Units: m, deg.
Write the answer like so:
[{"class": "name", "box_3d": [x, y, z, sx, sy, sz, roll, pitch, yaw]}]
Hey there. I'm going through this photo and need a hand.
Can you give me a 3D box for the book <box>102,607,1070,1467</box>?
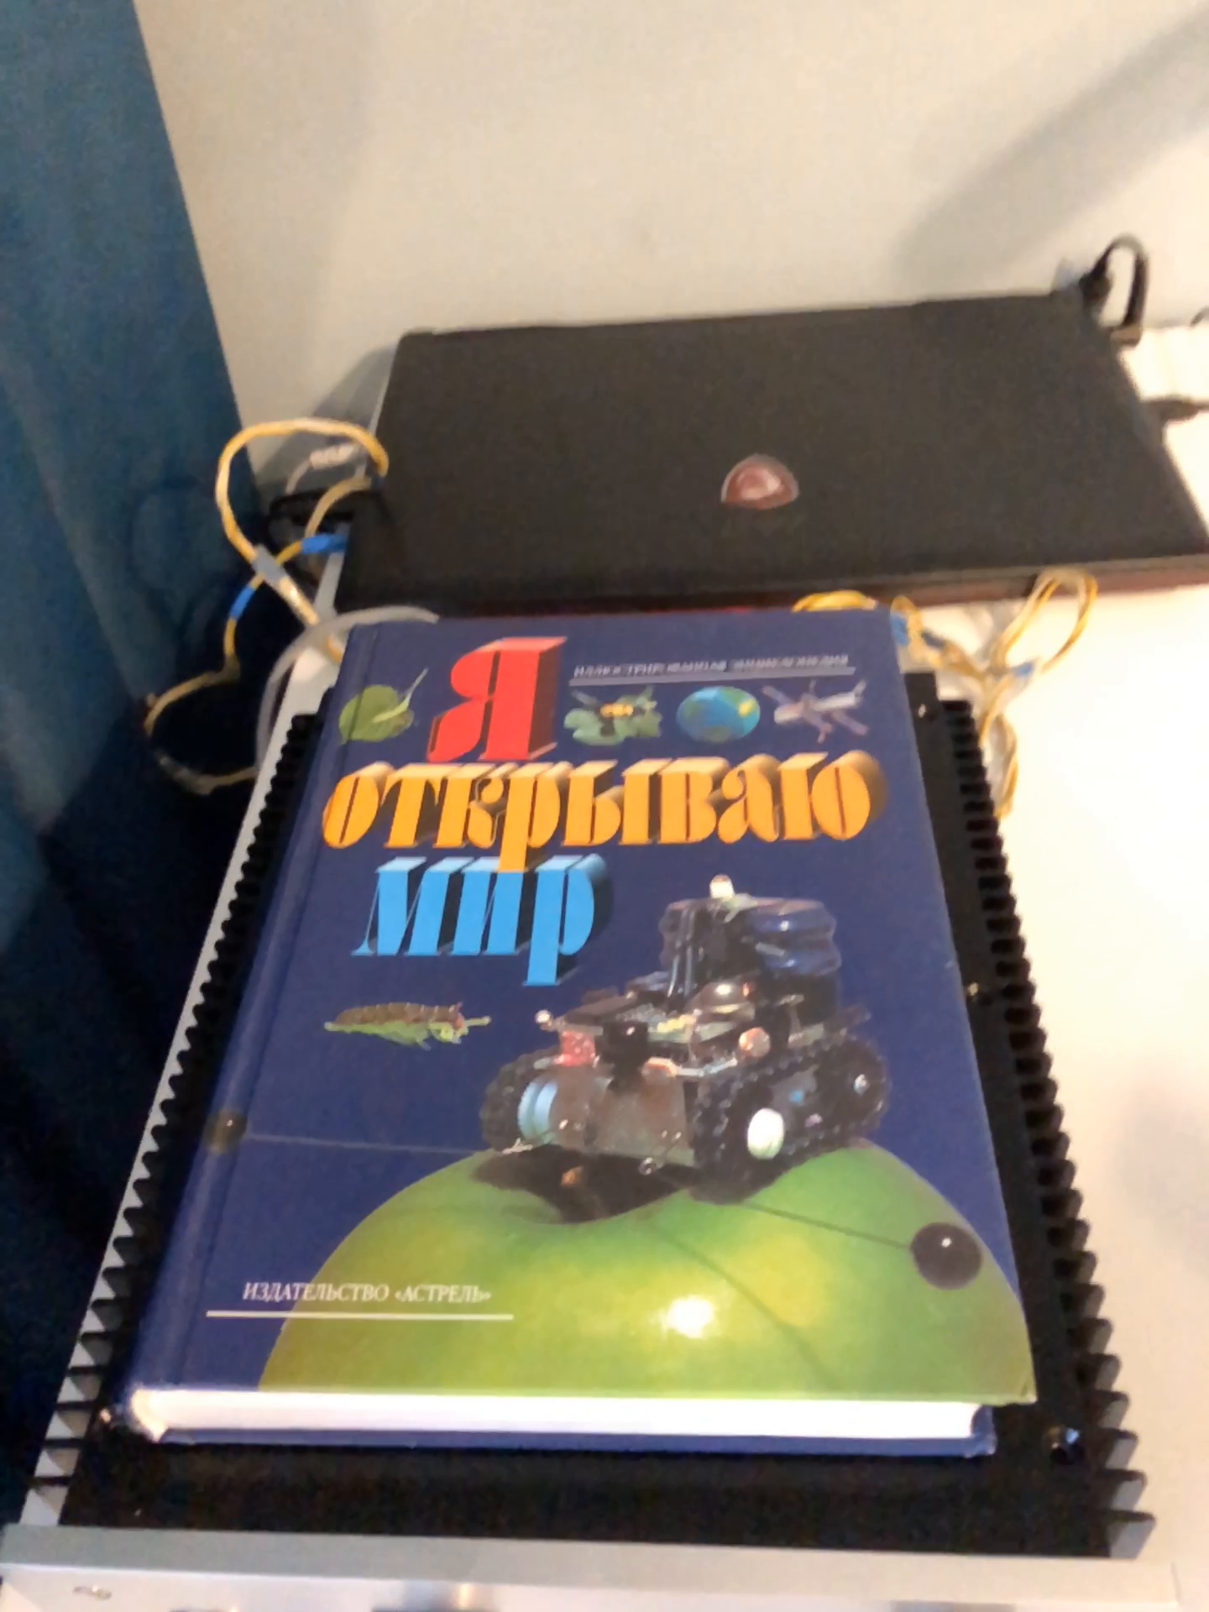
[{"class": "book", "box_3d": [0.001, 0.035, 0.359, 0.186, 0.030, 0.257, 0, 43, 4]}]
